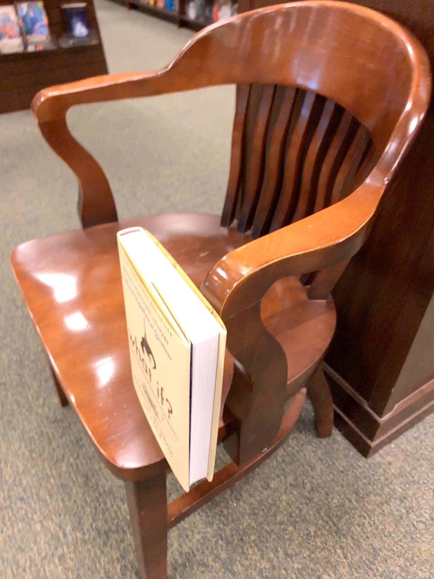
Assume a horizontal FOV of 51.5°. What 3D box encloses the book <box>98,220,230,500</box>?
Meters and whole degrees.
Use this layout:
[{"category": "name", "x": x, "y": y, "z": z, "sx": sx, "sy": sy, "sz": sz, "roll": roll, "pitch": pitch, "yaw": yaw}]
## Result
[{"category": "book", "x": -0.062, "y": 0.077, "z": 0.490, "sx": 0.050, "sy": 0.239, "sz": 0.188, "roll": -17, "pitch": 43, "yaw": -24}]
